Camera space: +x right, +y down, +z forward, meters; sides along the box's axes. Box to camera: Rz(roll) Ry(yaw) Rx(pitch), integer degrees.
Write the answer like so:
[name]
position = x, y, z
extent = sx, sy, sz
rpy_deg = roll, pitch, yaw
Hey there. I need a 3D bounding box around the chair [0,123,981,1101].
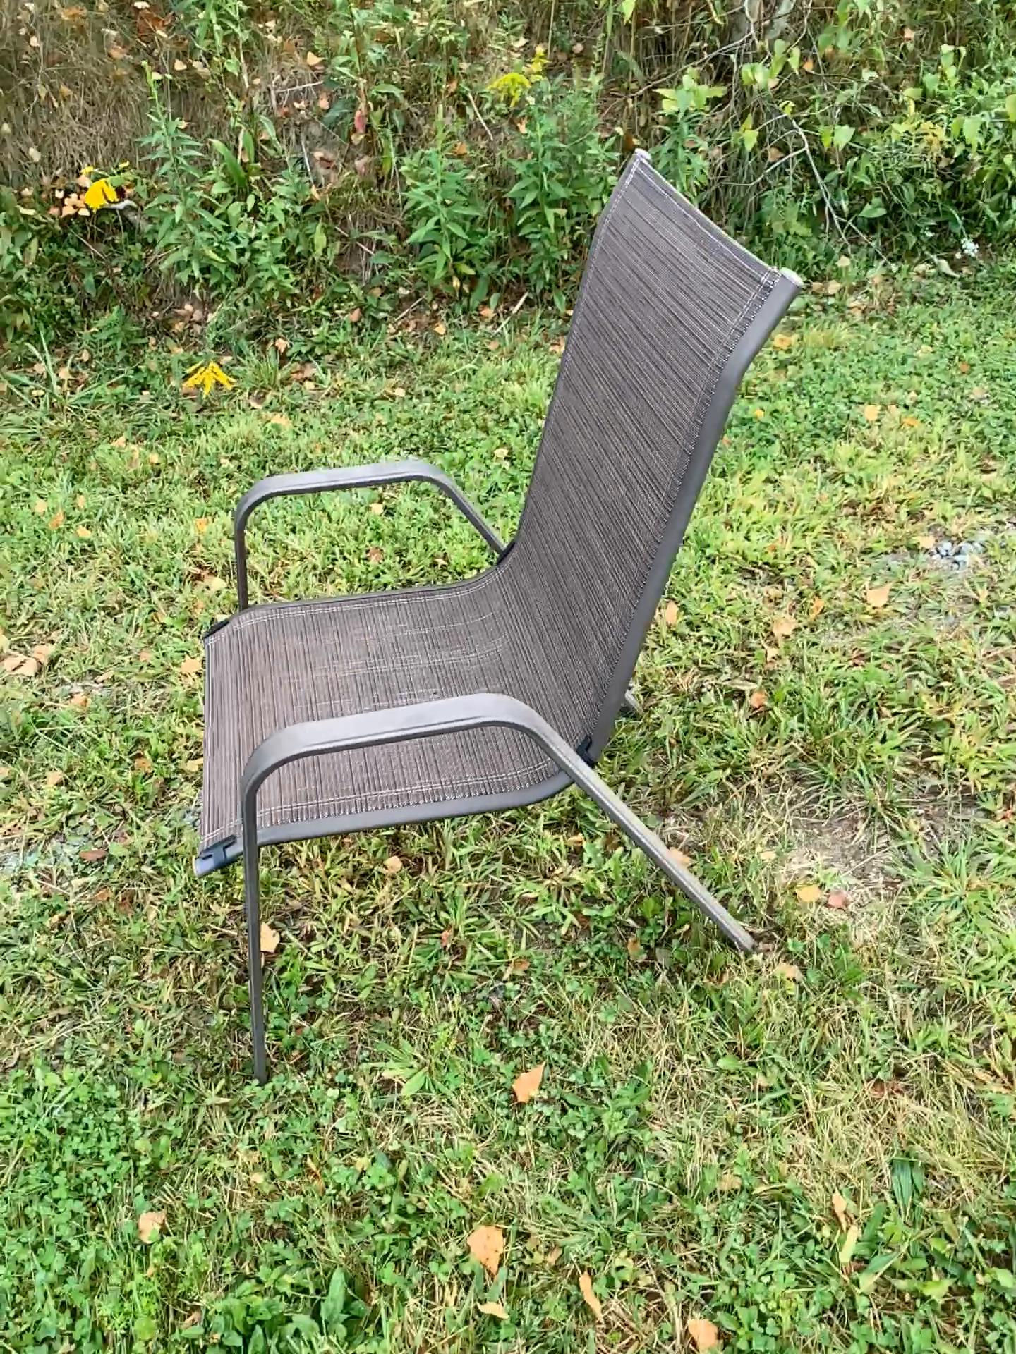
[chair]
position = -0.065, -0.094, 1.240
extent = 0.740, 0.875, 0.624
rpy_deg = -9, 39, -10
